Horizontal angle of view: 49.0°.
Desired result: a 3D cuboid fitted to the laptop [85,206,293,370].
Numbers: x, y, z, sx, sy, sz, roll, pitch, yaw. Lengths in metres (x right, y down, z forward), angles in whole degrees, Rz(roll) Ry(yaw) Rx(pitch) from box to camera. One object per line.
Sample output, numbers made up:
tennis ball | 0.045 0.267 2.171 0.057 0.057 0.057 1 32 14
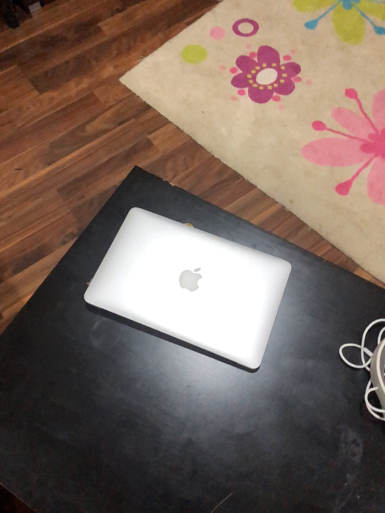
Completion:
laptop | -0.003 0.045 0.719 0.300 0.011 0.190 20 71 7
